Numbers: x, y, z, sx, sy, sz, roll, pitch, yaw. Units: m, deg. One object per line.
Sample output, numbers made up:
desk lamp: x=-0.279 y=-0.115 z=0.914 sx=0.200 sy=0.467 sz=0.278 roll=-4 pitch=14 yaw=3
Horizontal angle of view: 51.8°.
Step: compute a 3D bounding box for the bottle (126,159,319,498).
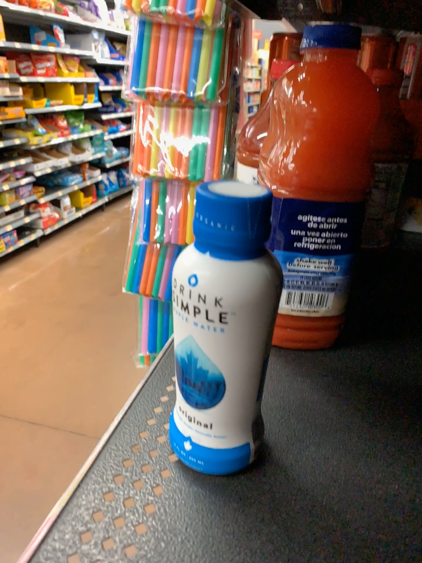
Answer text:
bottle: x=0.004 y=0.024 z=0.251 sx=0.070 sy=0.169 sz=0.066 roll=1 pitch=25 yaw=-1
